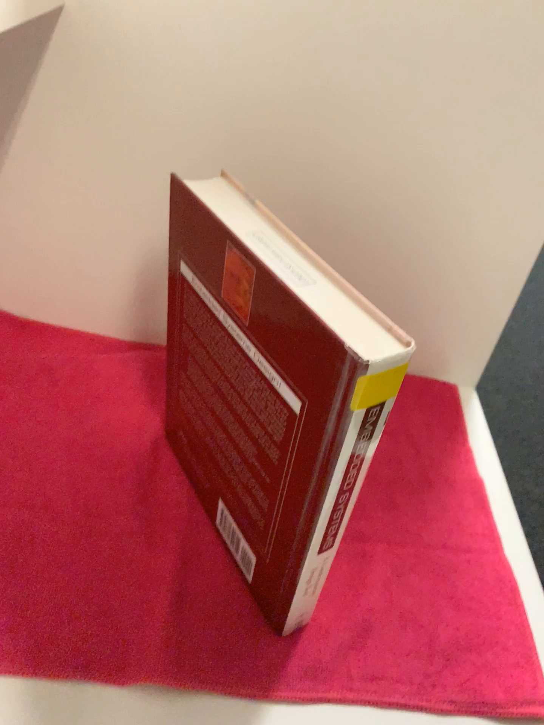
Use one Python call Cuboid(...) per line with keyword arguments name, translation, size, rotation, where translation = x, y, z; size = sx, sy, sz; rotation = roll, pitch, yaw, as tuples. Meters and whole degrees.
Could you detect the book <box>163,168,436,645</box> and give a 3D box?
Cuboid(name="book", translation=(-0.014, 0.033, 0.396), size=(0.044, 0.258, 0.213), rotation=(-15, 45, -28))
